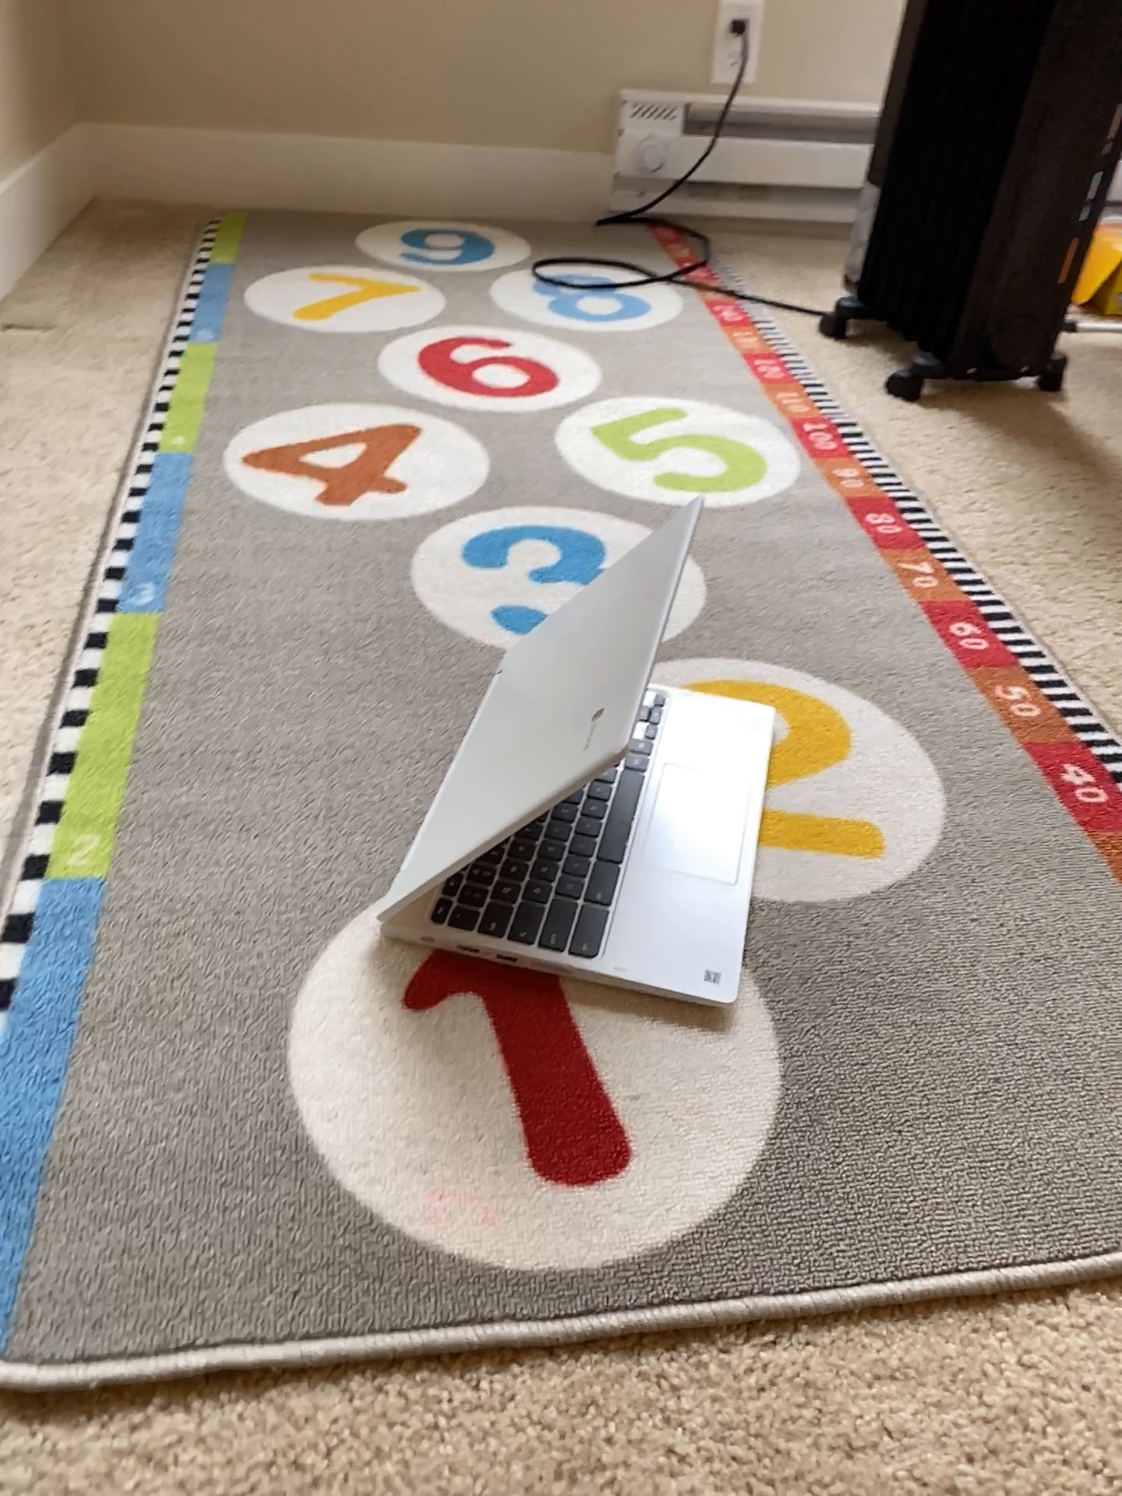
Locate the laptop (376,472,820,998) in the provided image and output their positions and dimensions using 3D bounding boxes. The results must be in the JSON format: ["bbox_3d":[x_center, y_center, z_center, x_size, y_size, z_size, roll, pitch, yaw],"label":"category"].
[{"bbox_3d":[0.036,-0.027,0.730,0.216,0.164,0.295,10,38,8],"label":"laptop"}]
